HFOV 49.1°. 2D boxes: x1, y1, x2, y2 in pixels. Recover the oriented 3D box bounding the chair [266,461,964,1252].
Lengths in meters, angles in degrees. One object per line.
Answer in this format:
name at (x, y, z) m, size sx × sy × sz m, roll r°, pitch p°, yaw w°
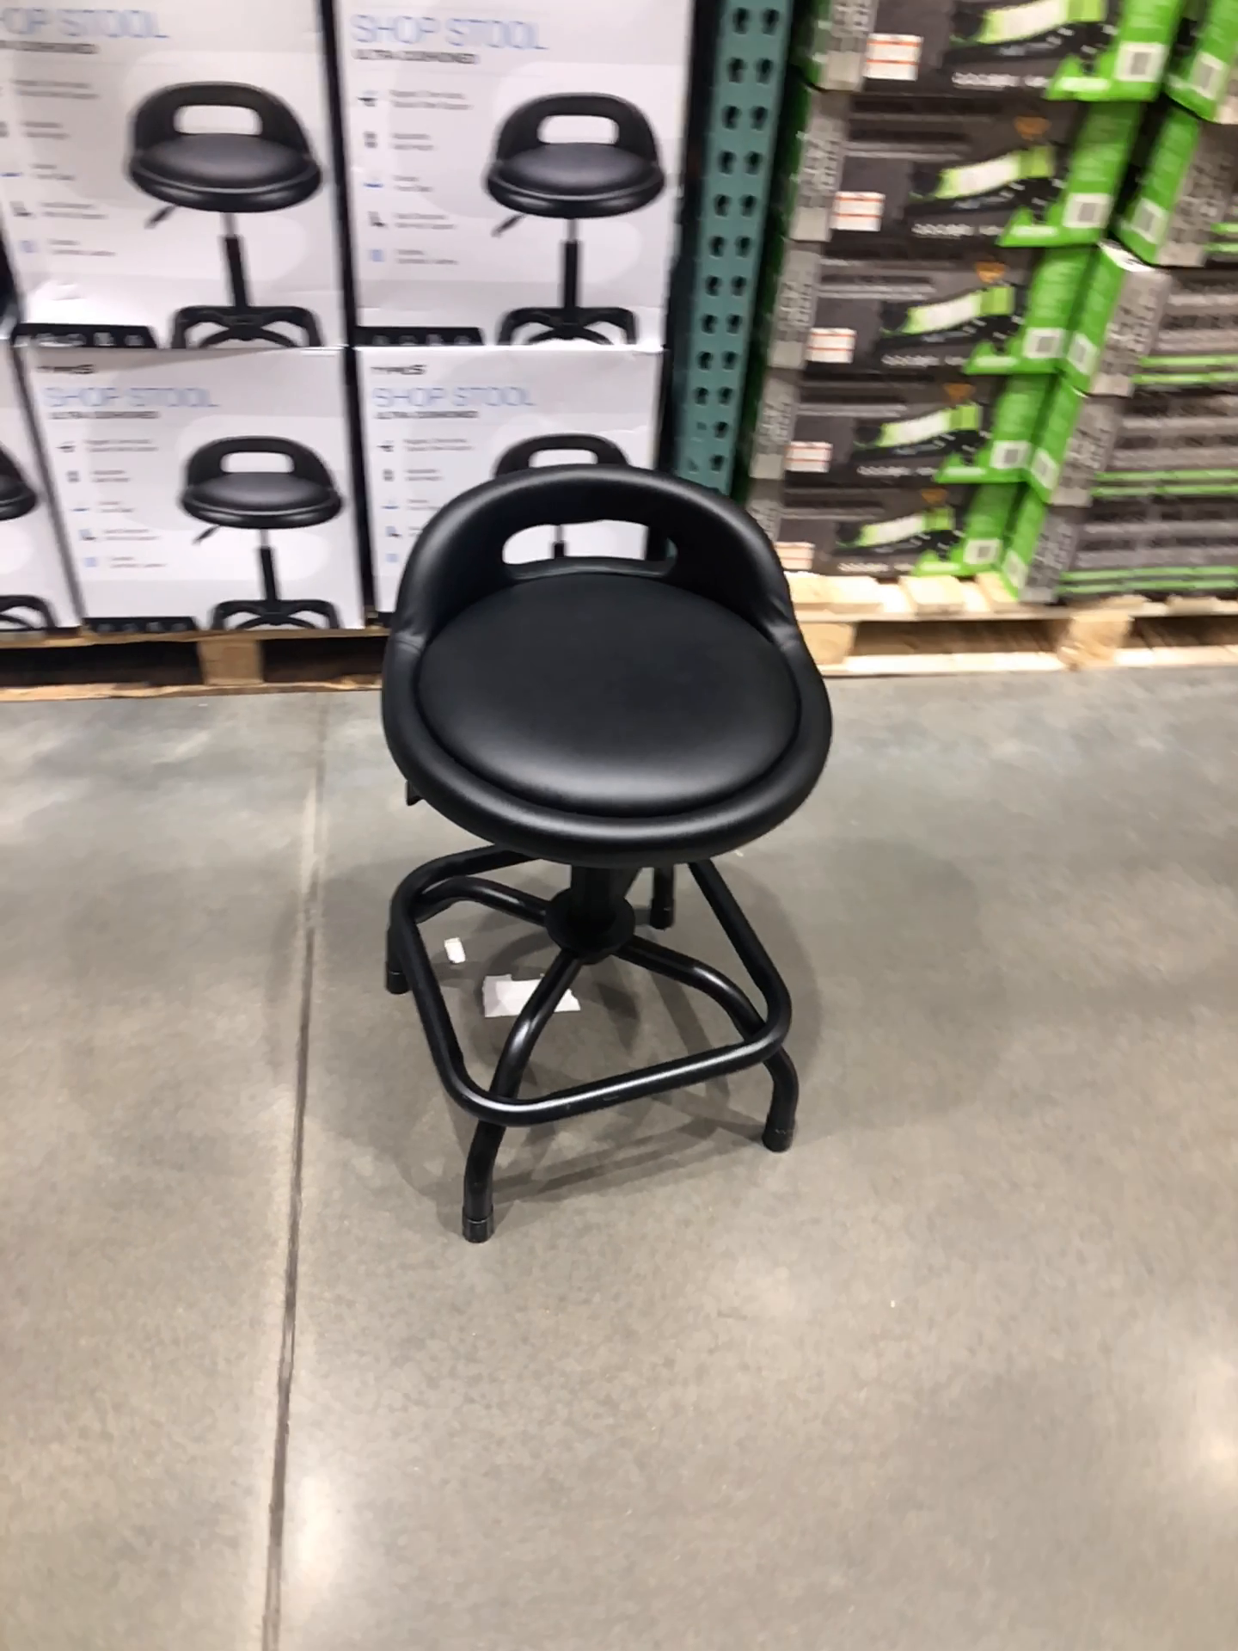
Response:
chair at (-0.034, 0.036, 1.398) m, size 0.519 × 0.627 × 0.504 m, roll -1°, pitch 42°, yaw -6°
